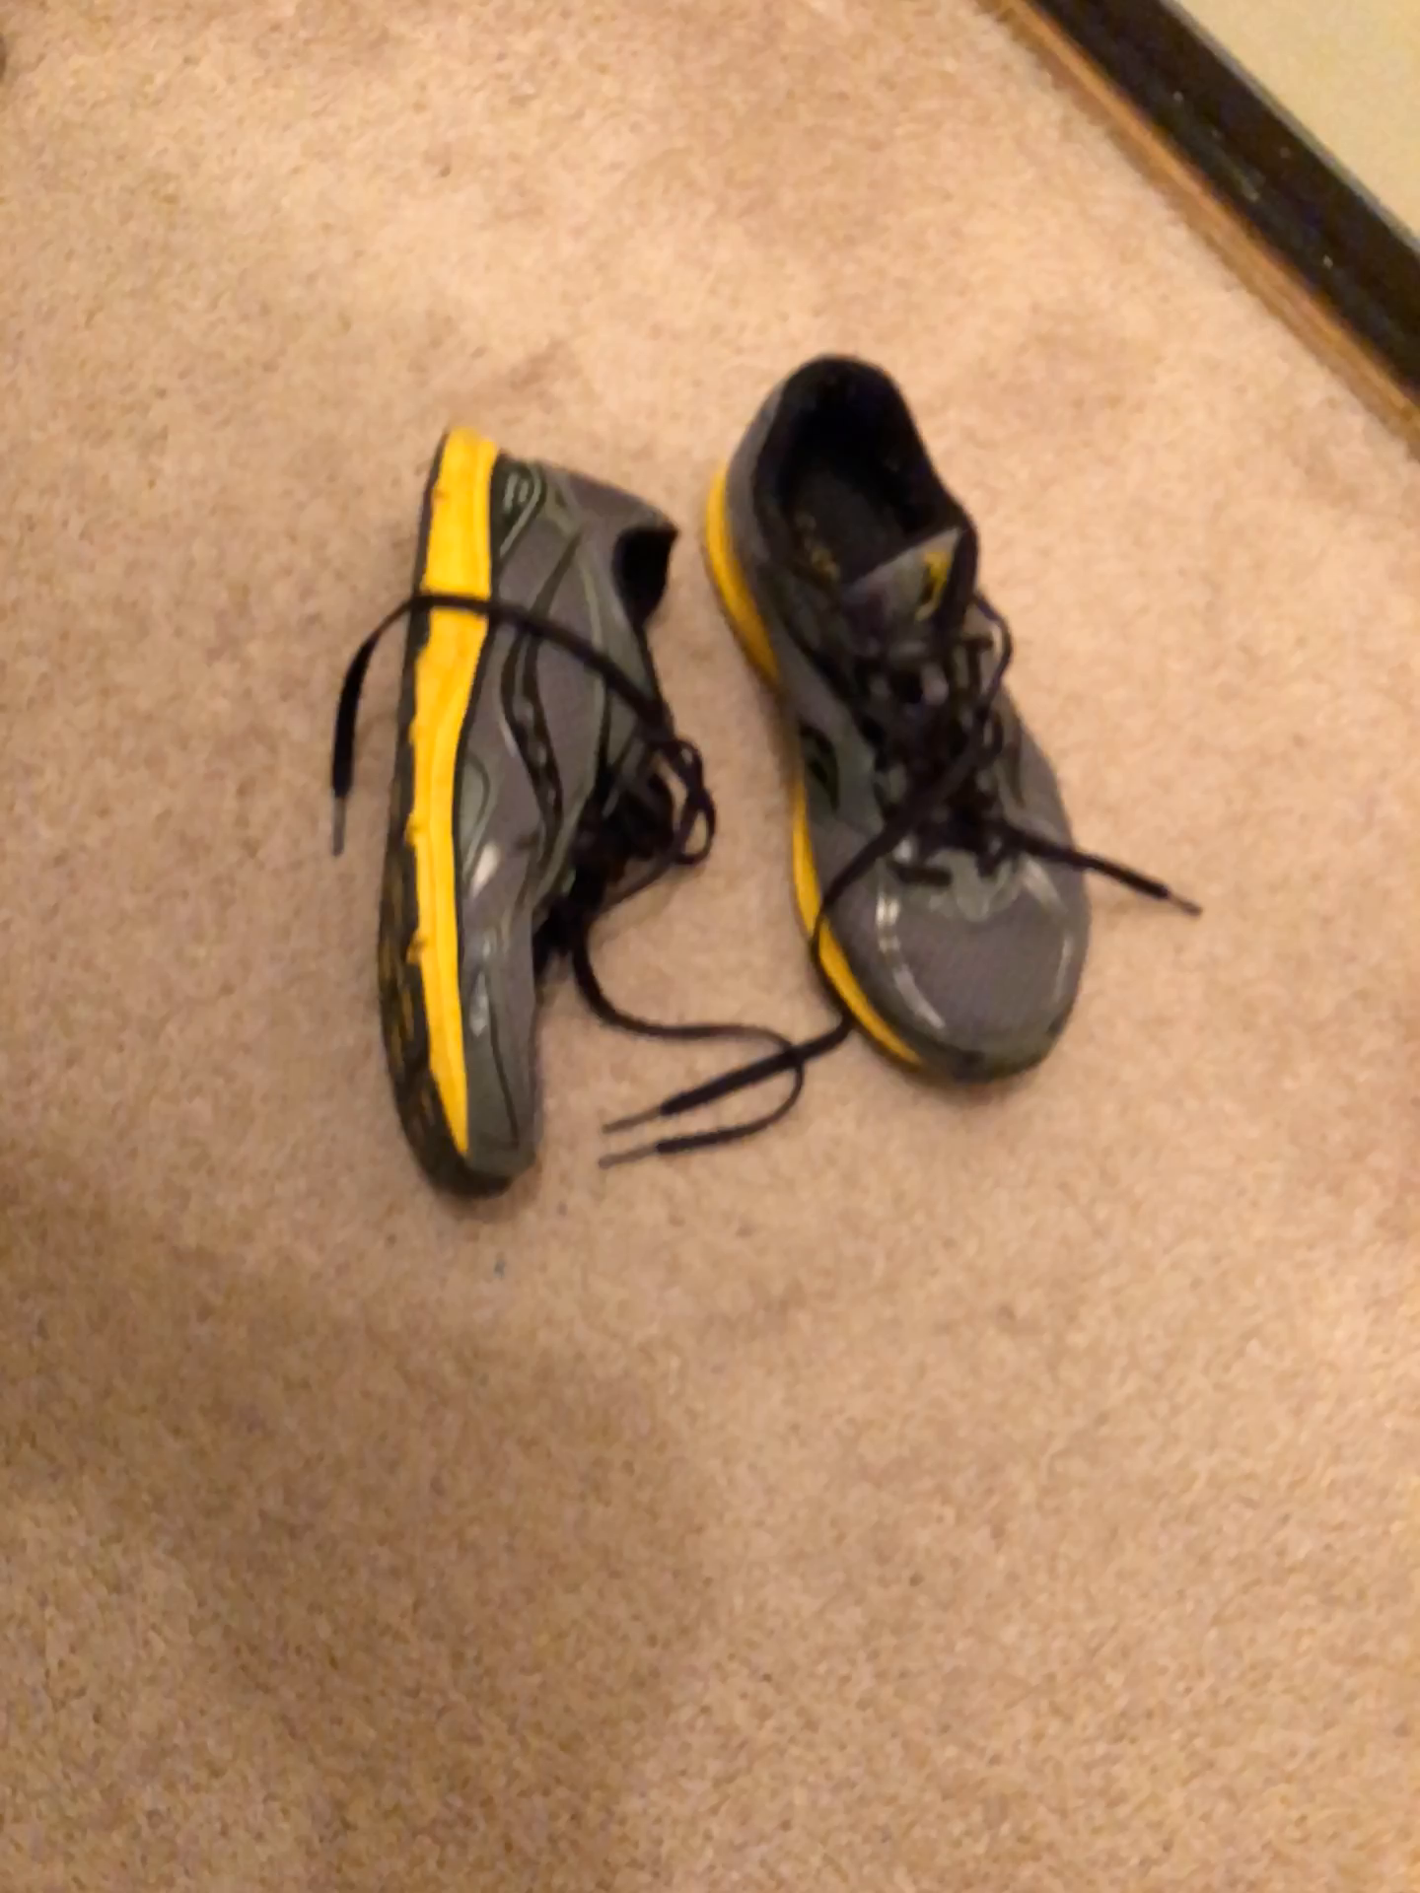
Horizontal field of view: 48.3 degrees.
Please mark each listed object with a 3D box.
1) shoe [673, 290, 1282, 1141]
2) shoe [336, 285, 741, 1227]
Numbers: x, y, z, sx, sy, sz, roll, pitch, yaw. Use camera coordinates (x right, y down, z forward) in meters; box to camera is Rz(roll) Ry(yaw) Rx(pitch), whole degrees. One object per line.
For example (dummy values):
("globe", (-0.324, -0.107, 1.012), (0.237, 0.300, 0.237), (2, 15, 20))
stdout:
("shoe", (0.082, -0.088, 0.573), (0.118, 0.099, 0.284), (-8, 70, -14))
("shoe", (-0.061, -0.064, 0.538), (0.109, 0.118, 0.294), (0, 68, -8))
